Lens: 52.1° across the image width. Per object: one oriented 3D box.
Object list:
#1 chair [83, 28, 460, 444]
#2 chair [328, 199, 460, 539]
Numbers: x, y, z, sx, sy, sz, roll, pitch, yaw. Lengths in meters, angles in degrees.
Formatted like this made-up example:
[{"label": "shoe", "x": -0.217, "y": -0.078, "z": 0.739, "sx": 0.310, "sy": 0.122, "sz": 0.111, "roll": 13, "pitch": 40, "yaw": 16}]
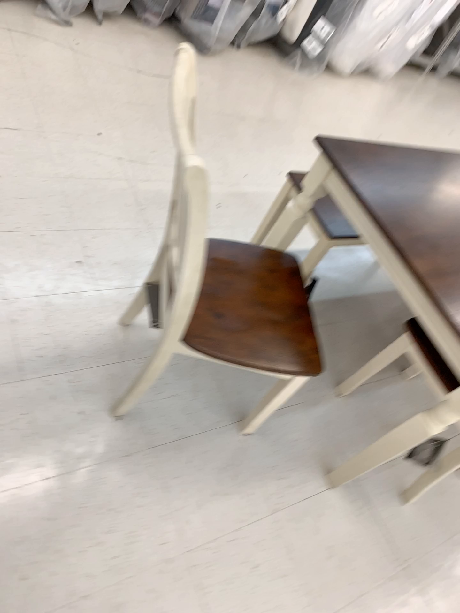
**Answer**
[{"label": "chair", "x": 0.002, "y": -0.069, "z": 1.265, "sx": 0.595, "sy": 0.902, "sz": 0.526, "roll": 9, "pitch": 50, "yaw": -22}, {"label": "chair", "x": 0.871, "y": 0.227, "z": 1.489, "sx": 0.466, "sy": 0.932, "sz": 0.605, "roll": -7, "pitch": 57, "yaw": -32}]
